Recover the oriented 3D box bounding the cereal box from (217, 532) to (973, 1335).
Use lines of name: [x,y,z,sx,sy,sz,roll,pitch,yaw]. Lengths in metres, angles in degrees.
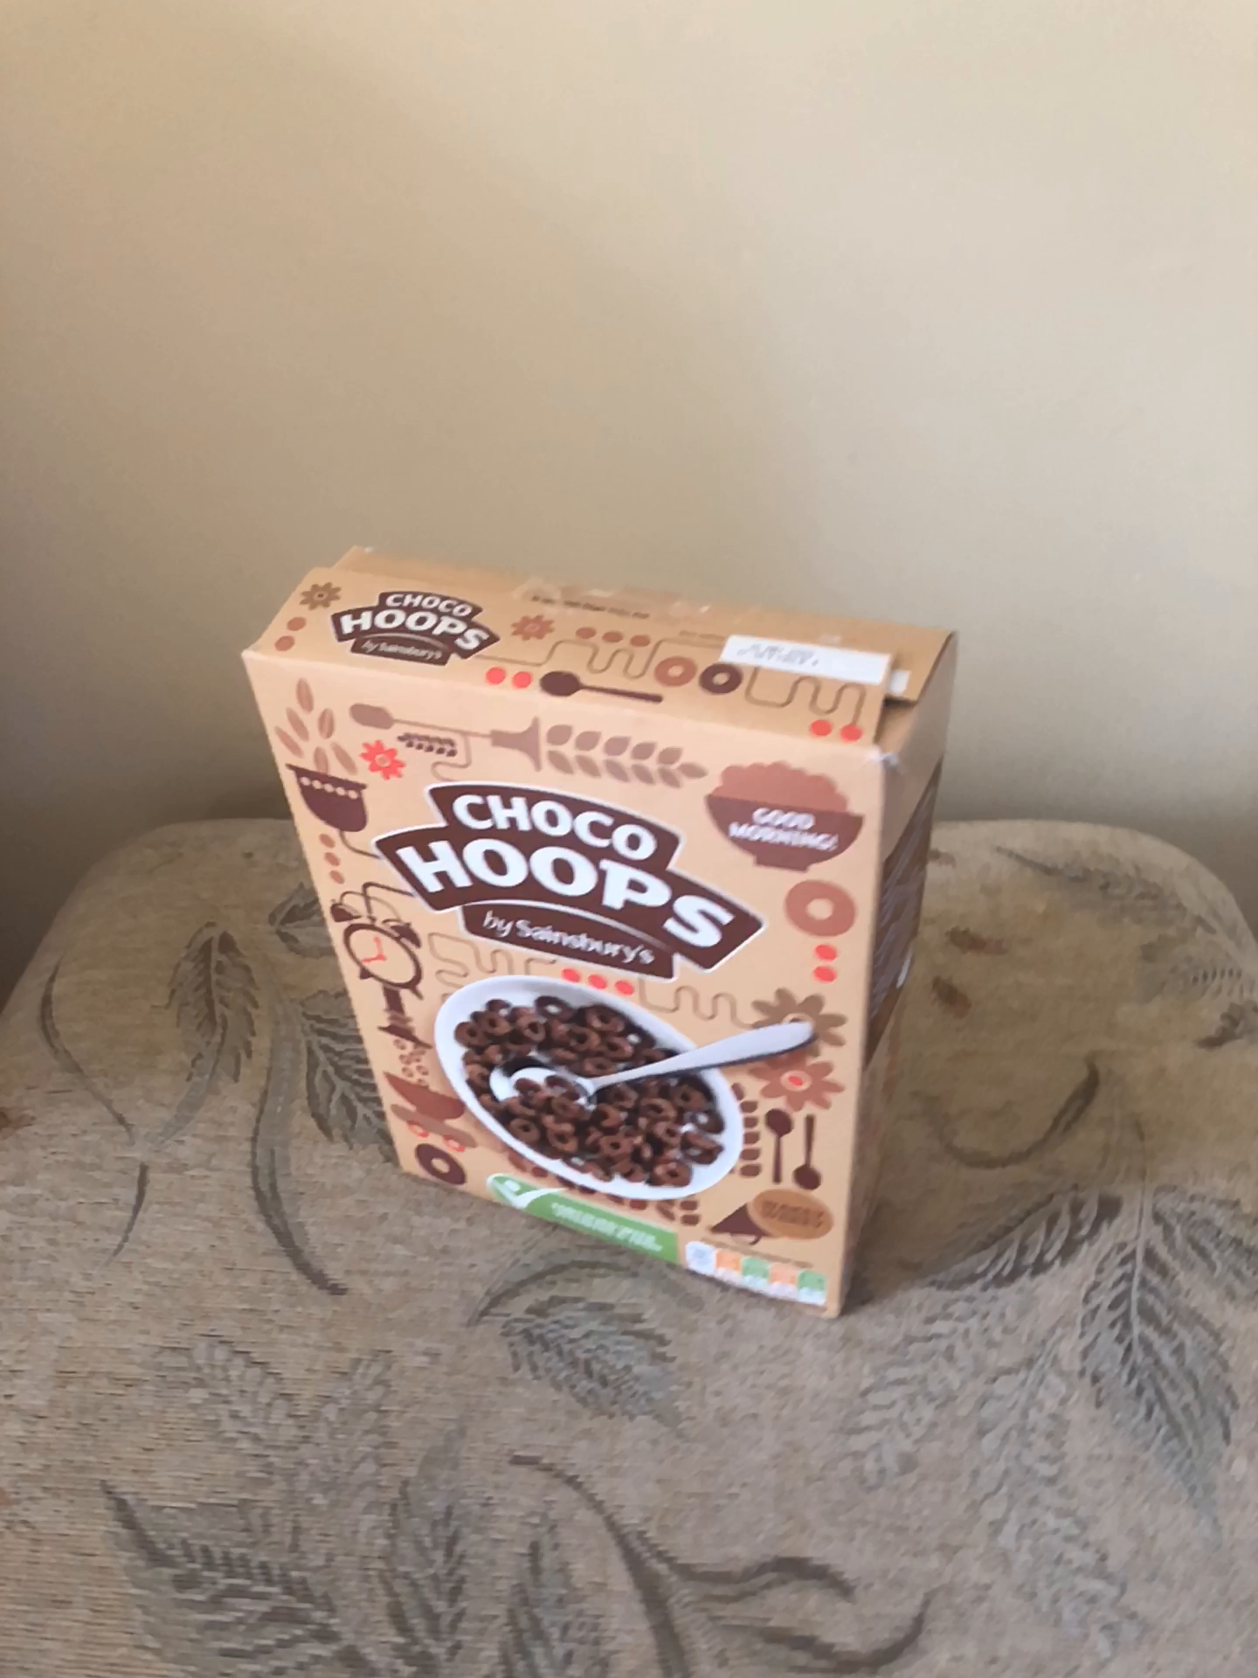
cereal box: [-0.005,0.040,0.496,0.210,0.258,0.080,12,43,18]
